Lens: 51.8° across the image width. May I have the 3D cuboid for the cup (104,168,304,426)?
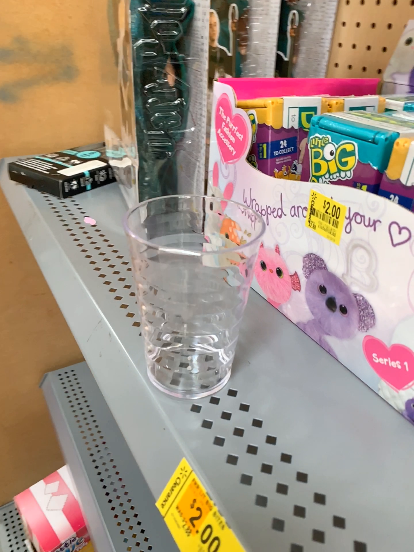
[{"bbox_3d":[-0.007,0.007,0.242,0.070,0.107,0.079,-15,35,-27],"label":"cup"}]
